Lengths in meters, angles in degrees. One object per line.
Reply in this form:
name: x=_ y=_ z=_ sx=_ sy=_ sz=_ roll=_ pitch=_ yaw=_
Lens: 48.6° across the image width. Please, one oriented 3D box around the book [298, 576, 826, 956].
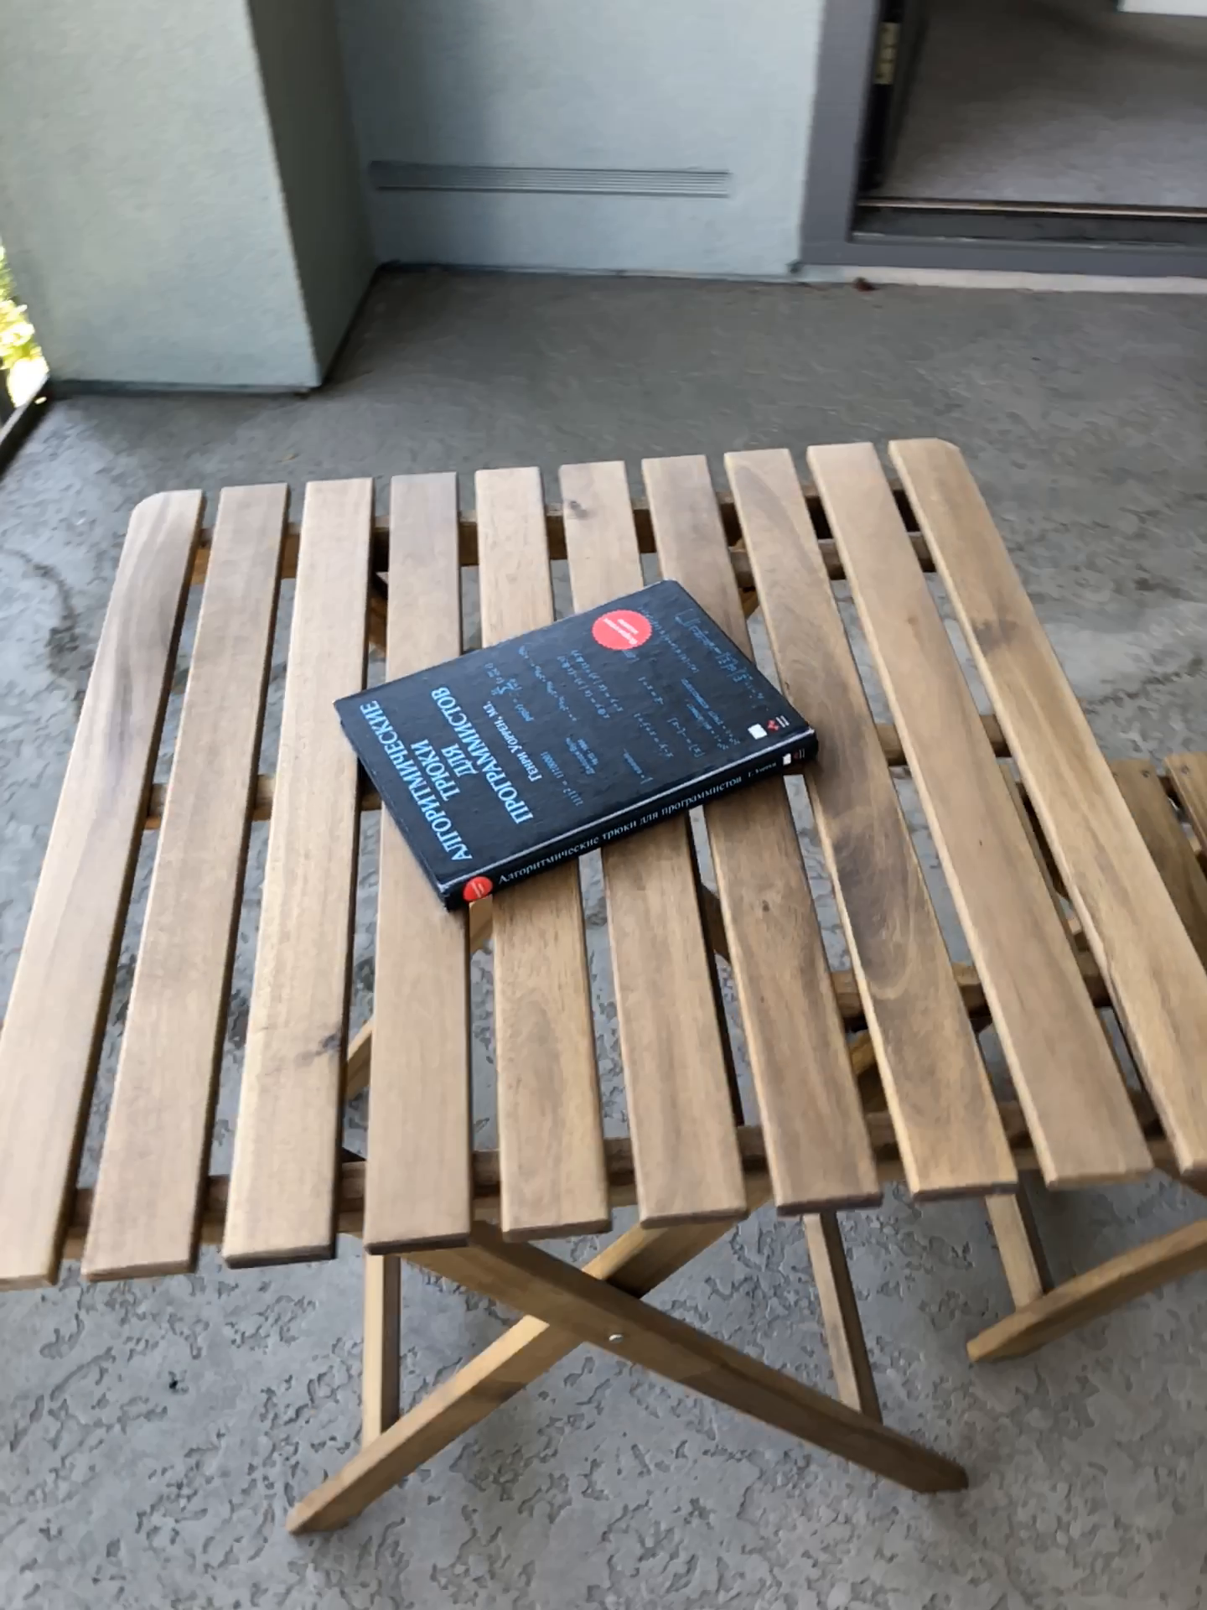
book: x=-0.027 y=-0.035 z=0.784 sx=0.250 sy=0.030 sz=0.180 roll=-23 pitch=51 yaw=-18
